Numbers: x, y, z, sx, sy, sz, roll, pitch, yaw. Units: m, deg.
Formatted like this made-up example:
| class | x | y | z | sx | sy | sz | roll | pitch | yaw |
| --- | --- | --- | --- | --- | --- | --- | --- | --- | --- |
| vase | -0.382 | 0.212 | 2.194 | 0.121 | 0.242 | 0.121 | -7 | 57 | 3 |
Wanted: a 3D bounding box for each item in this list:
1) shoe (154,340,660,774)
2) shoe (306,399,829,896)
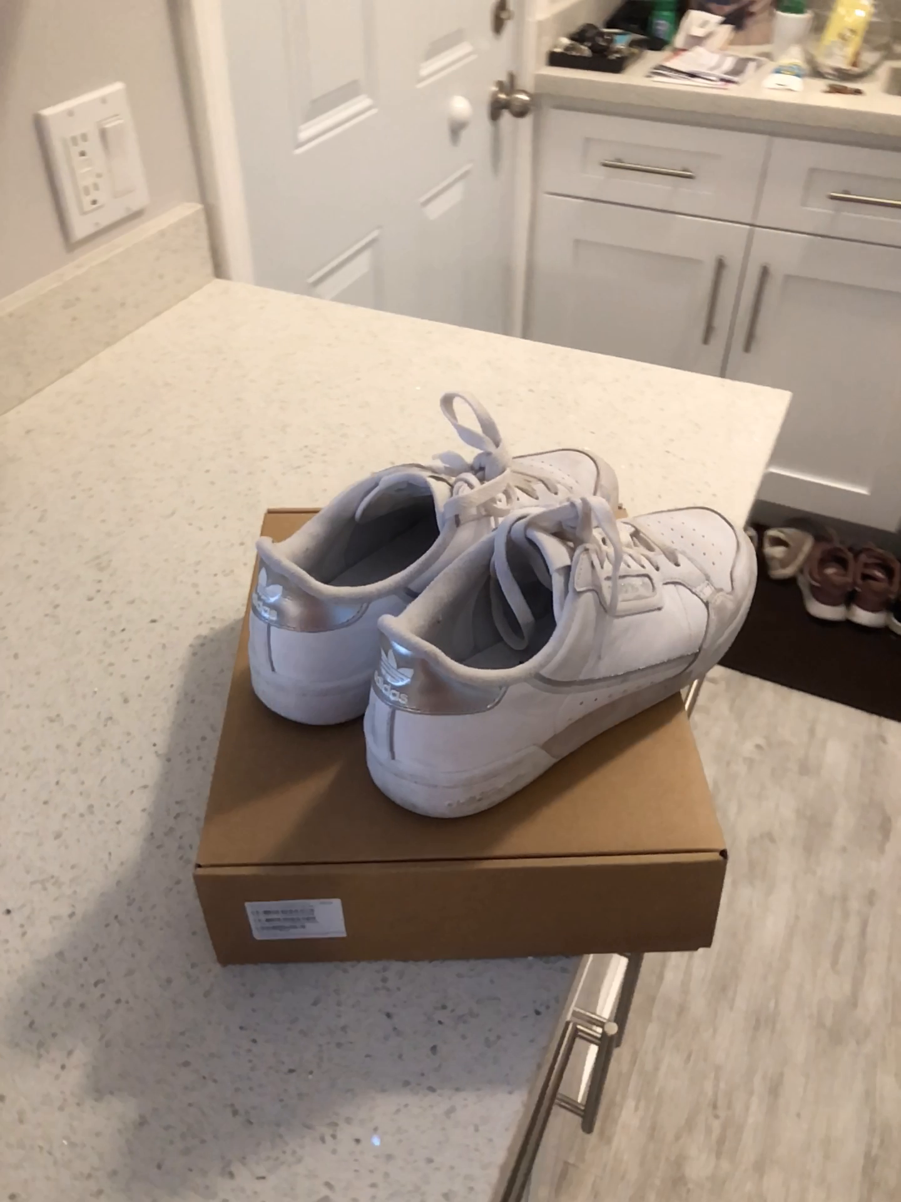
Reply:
| class | x | y | z | sx | sy | sz | roll | pitch | yaw |
| --- | --- | --- | --- | --- | --- | --- | --- | --- | --- |
| shoe | -0.012 | -0.040 | 0.555 | 0.107 | 0.100 | 0.268 | 32 | 49 | 32 |
| shoe | 0.068 | 0.006 | 0.510 | 0.107 | 0.100 | 0.268 | 32 | 49 | 32 |
